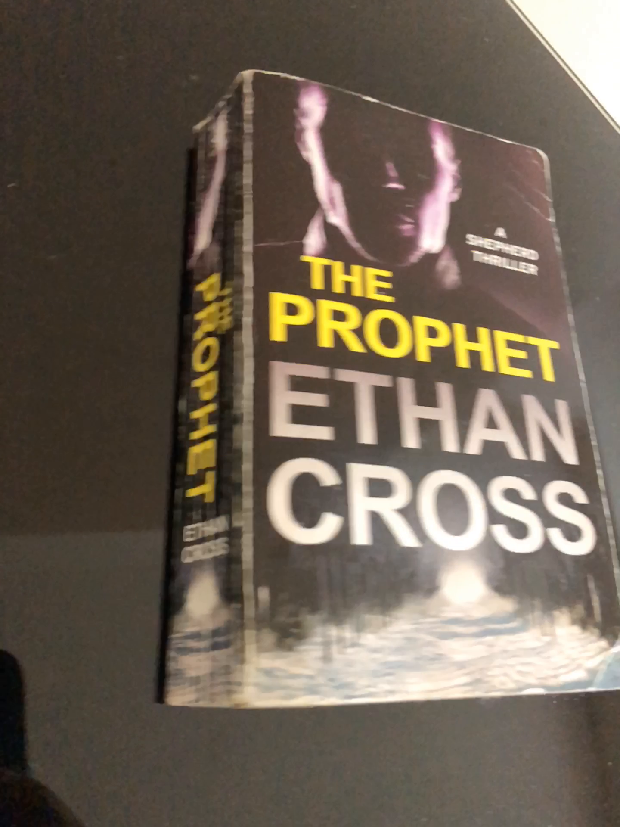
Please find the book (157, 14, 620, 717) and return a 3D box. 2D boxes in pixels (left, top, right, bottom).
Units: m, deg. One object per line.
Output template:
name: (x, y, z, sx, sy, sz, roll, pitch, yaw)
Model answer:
book: (0.023, -0.013, 0.202, 0.115, 0.040, 0.179, 7, 69, -22)
